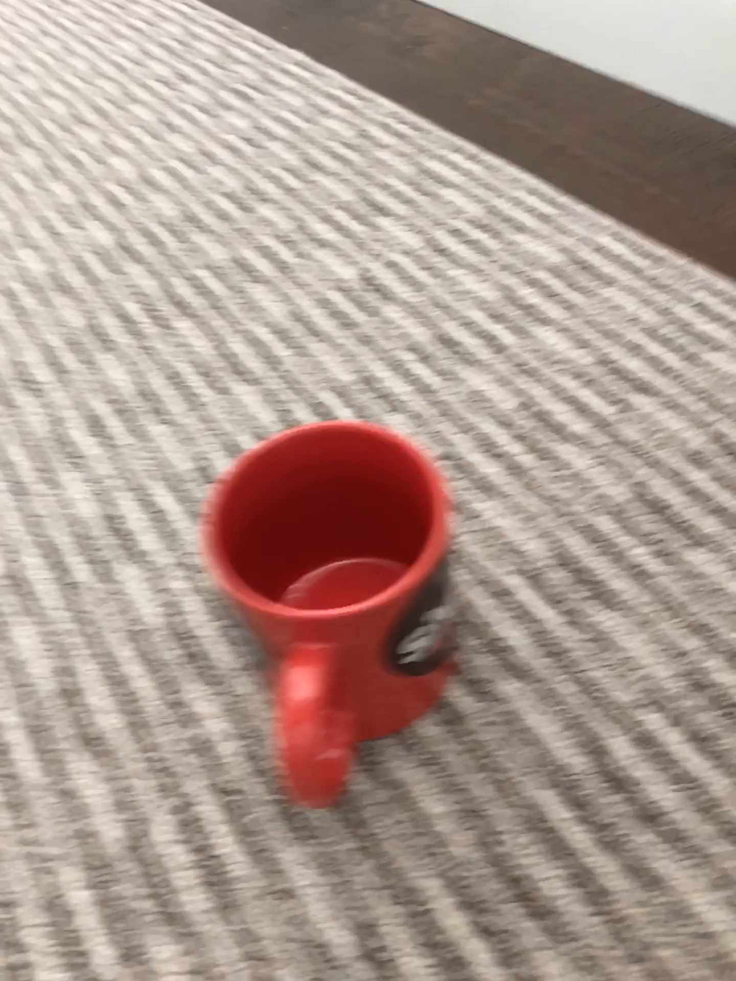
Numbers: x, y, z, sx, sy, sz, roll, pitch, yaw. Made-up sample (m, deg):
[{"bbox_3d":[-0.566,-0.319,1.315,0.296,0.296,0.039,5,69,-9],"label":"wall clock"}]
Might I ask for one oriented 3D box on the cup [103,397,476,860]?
[{"bbox_3d":[-0.015,0.056,0.353,0.110,0.119,0.151,2,50,11],"label":"cup"}]
